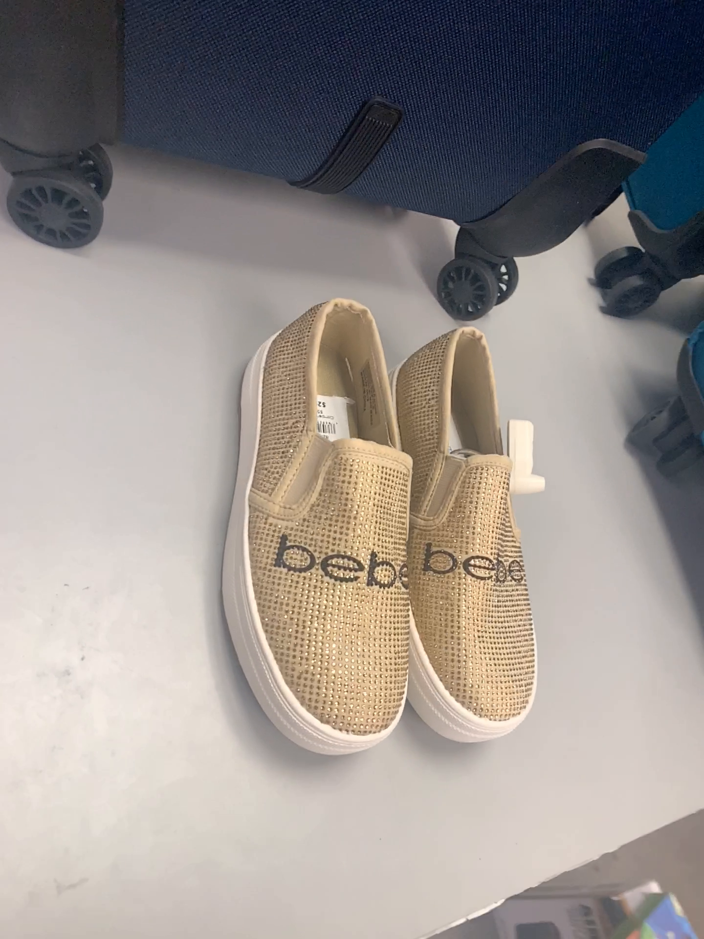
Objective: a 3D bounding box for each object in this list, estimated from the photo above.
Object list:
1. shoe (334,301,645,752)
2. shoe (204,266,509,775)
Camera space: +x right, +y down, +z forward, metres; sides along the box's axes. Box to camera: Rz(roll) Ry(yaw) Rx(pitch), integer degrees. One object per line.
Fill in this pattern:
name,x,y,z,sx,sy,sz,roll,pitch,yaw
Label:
shoe,0.064,0.030,0.403,0.094,0.086,0.223,7,60,-28
shoe,-0.010,0.023,0.359,0.094,0.086,0.223,7,60,-28
